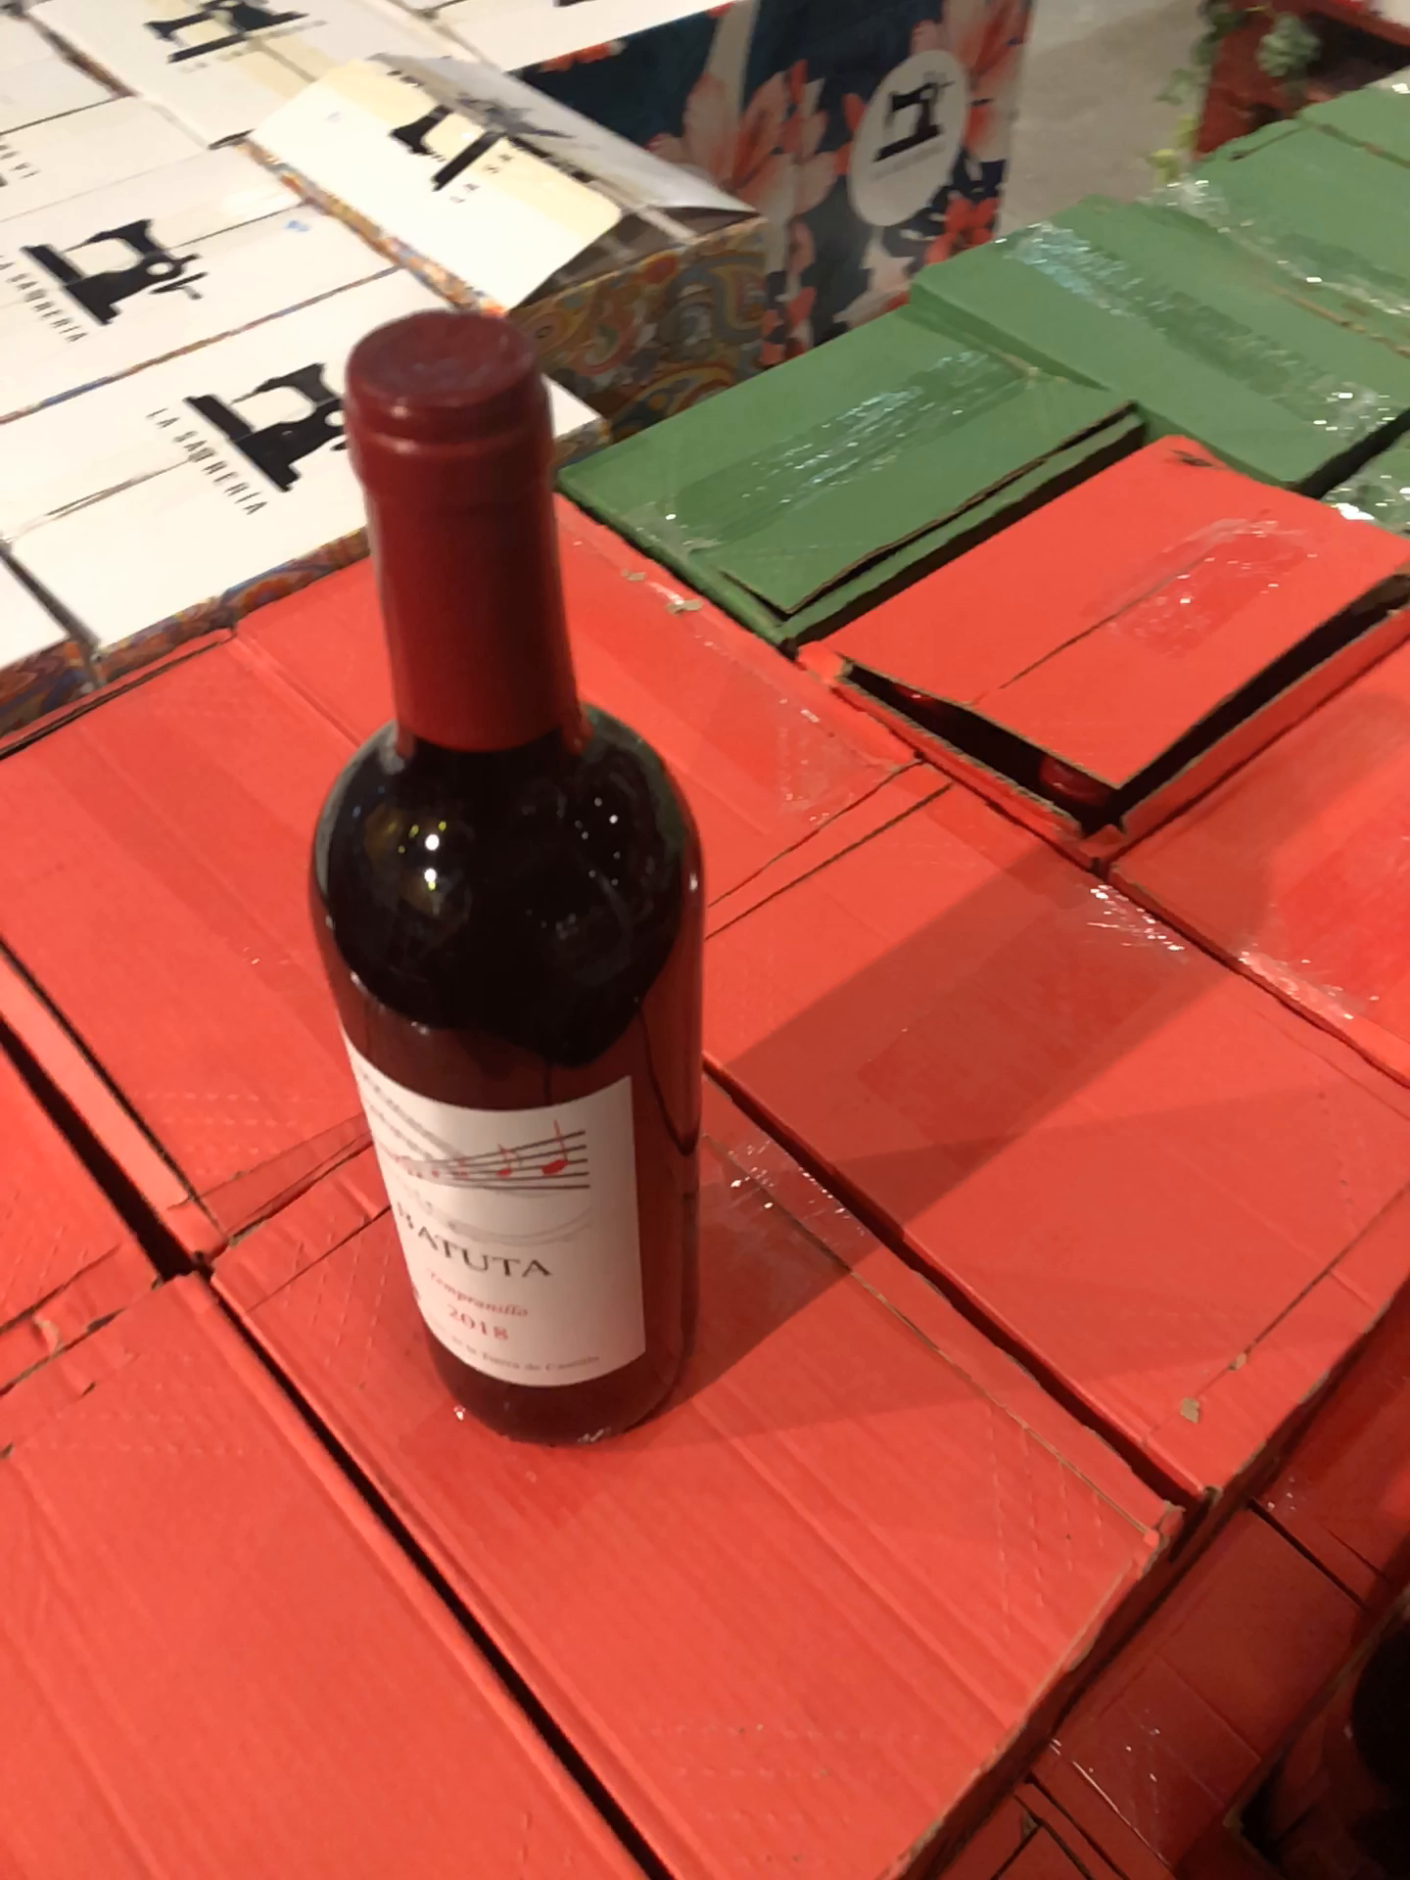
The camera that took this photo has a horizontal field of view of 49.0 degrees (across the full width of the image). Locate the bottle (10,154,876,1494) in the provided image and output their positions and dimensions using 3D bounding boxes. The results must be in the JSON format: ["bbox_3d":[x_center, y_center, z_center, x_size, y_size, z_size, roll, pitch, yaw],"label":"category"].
[{"bbox_3d":[-0.030,0.010,0.316,0.090,0.287,0.080,13,52,11],"label":"bottle"}]
